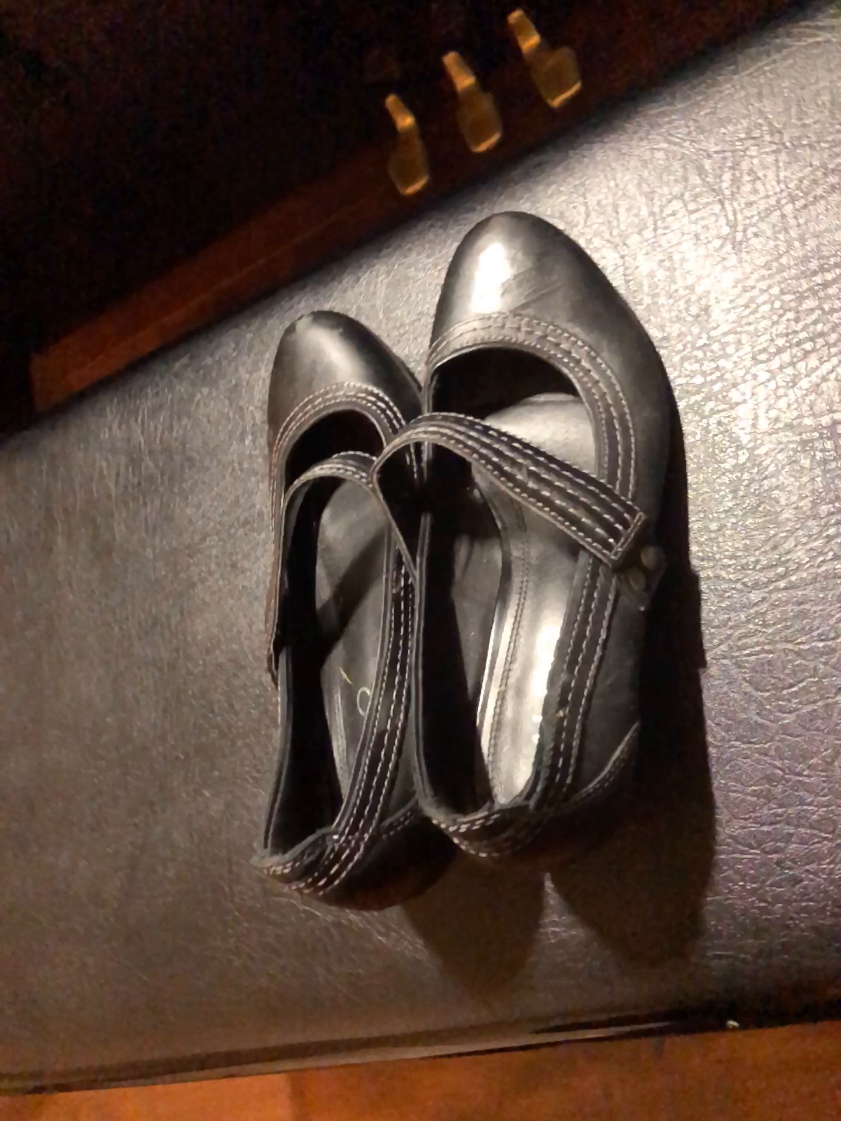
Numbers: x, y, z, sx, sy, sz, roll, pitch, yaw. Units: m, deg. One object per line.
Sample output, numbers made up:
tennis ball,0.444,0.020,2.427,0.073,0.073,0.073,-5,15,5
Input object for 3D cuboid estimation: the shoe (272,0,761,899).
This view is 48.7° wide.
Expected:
shoe,0.031,-0.024,0.305,0.100,0.109,0.240,-12,75,27

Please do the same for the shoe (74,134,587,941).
shoe,-0.036,-0.005,0.341,0.100,0.109,0.240,-22,71,25
